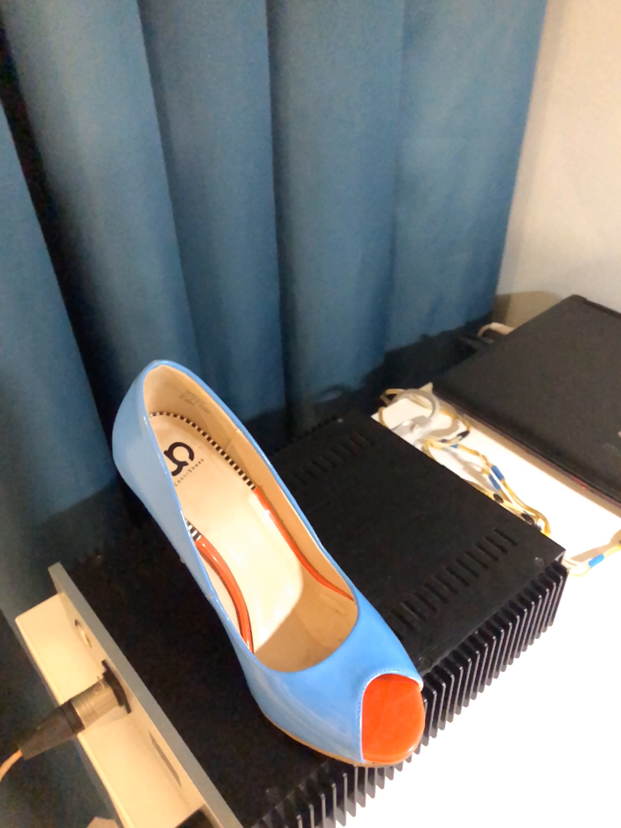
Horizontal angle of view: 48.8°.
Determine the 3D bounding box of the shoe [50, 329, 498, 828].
[{"bbox_3d":[-0.028,0.073,0.363,0.080,0.149,0.221,-33,47,-32],"label":"shoe"}]
